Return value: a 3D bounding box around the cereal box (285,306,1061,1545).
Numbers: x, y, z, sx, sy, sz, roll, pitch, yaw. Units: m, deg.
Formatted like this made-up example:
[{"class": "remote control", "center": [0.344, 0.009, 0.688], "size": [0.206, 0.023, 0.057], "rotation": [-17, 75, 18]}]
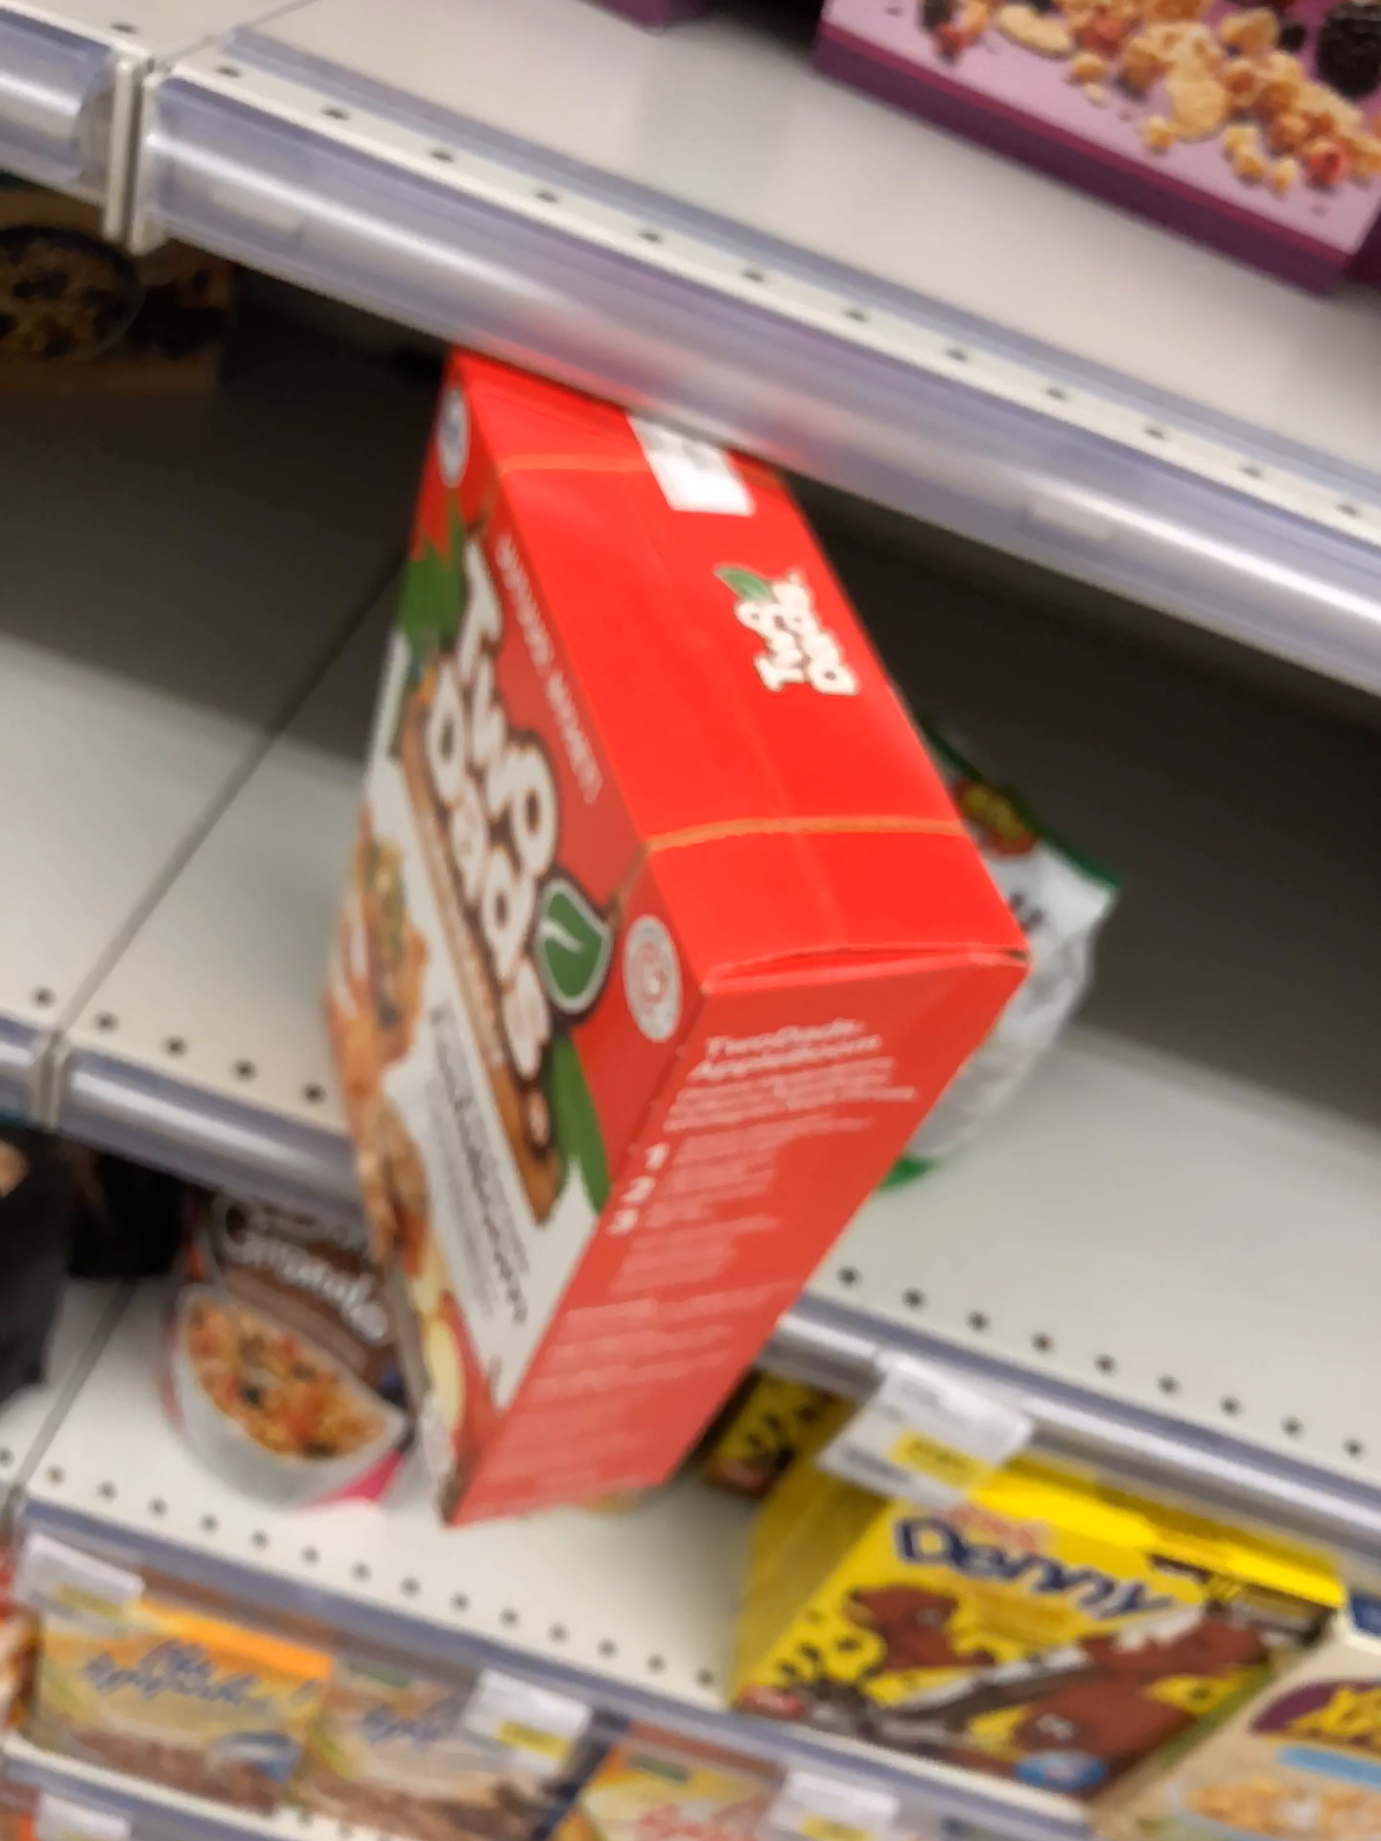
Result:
[{"class": "cereal box", "center": [-0.038, 0.015, 0.426], "size": [0.080, 0.268, 0.201], "rotation": [-4, 53, -25]}]
